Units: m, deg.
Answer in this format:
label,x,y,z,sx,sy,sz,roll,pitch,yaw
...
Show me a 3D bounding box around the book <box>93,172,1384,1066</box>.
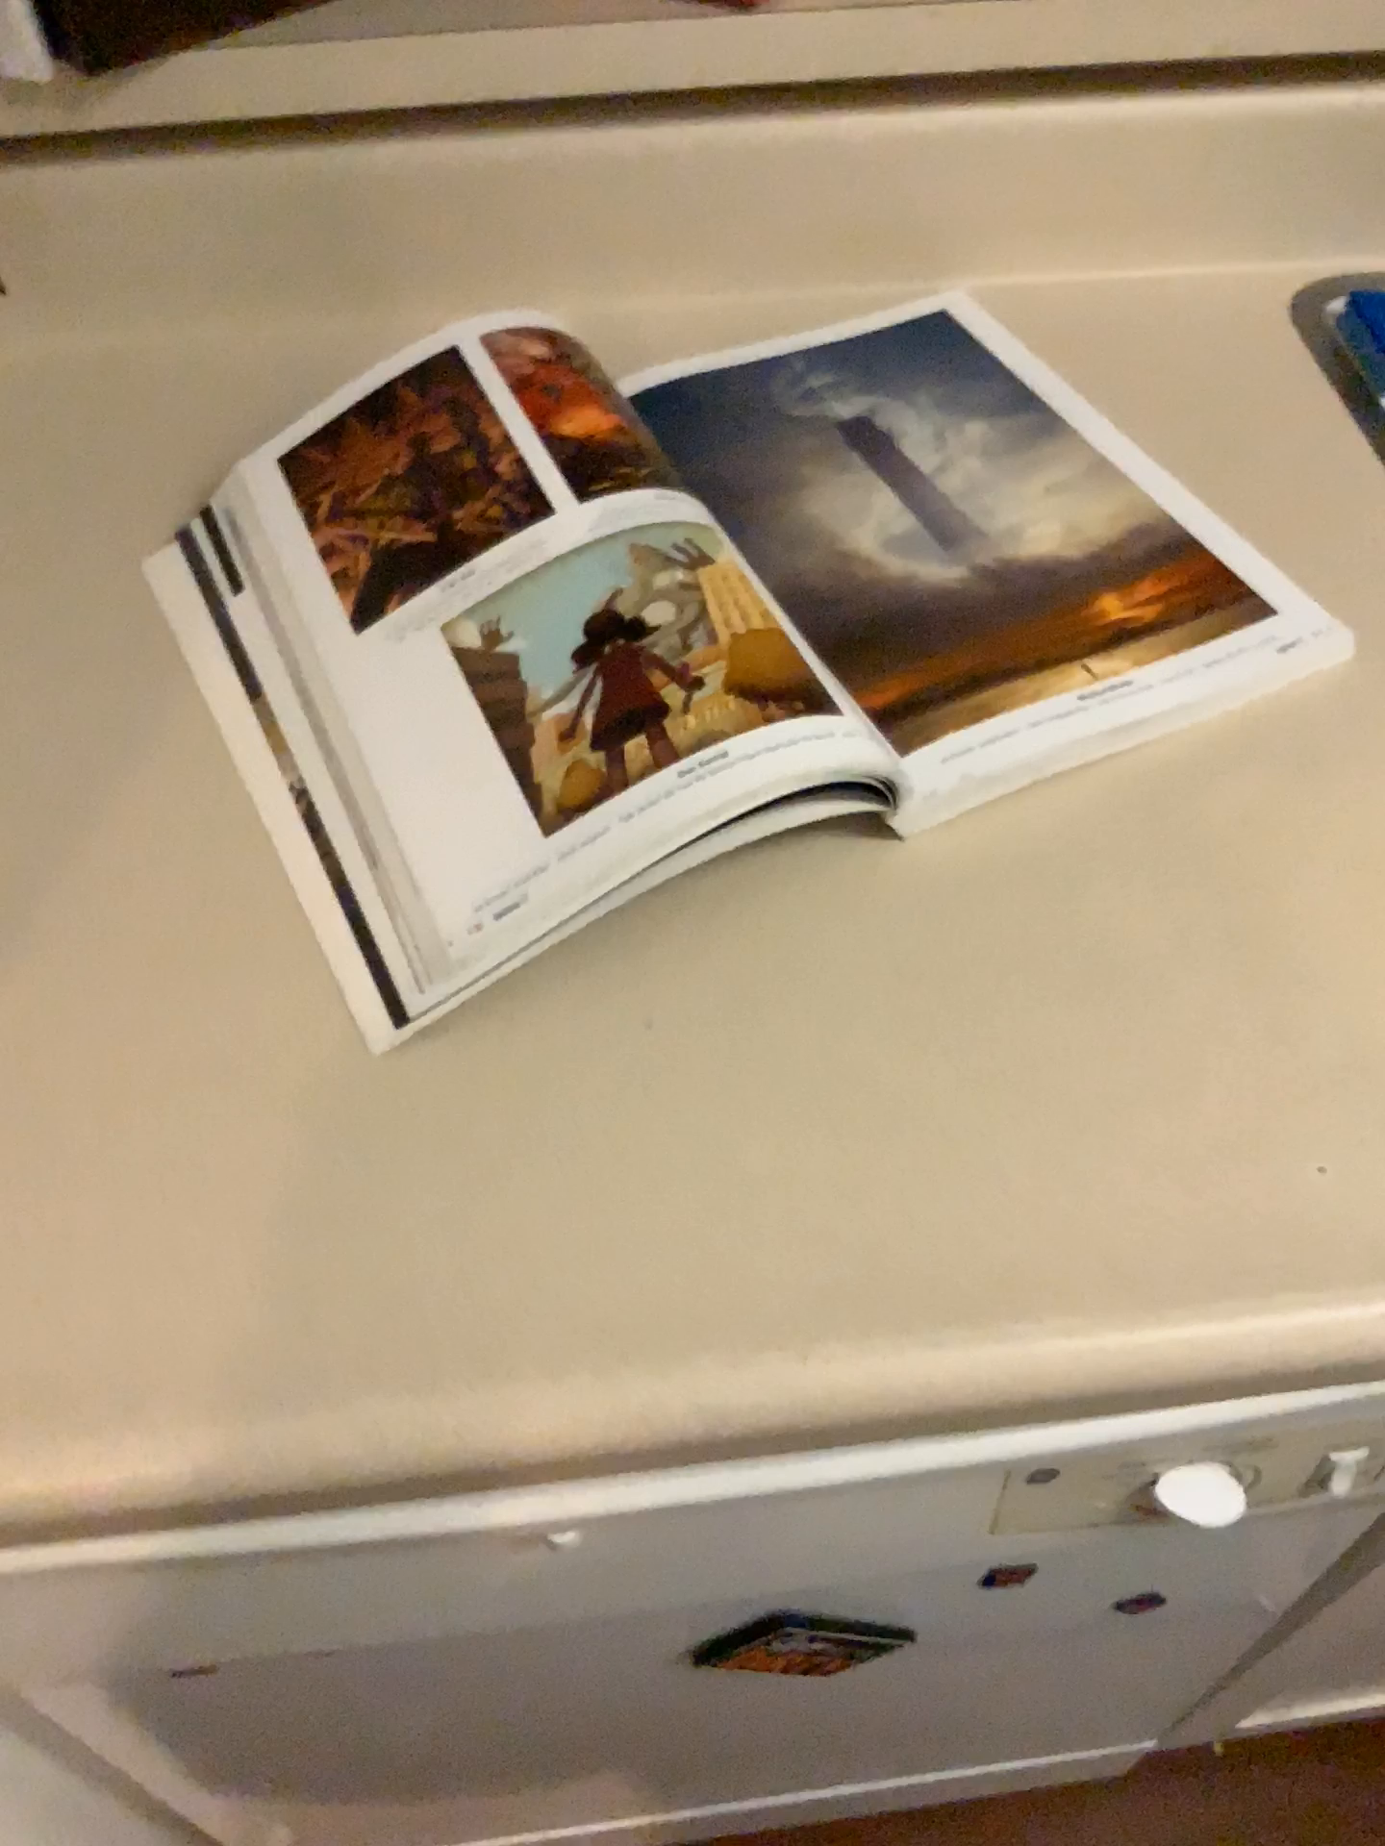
label,x,y,z,sx,sy,sz,roll,pitch,yaw
book,0.019,-0.165,0.660,0.450,0.070,0.320,-22,55,-16
